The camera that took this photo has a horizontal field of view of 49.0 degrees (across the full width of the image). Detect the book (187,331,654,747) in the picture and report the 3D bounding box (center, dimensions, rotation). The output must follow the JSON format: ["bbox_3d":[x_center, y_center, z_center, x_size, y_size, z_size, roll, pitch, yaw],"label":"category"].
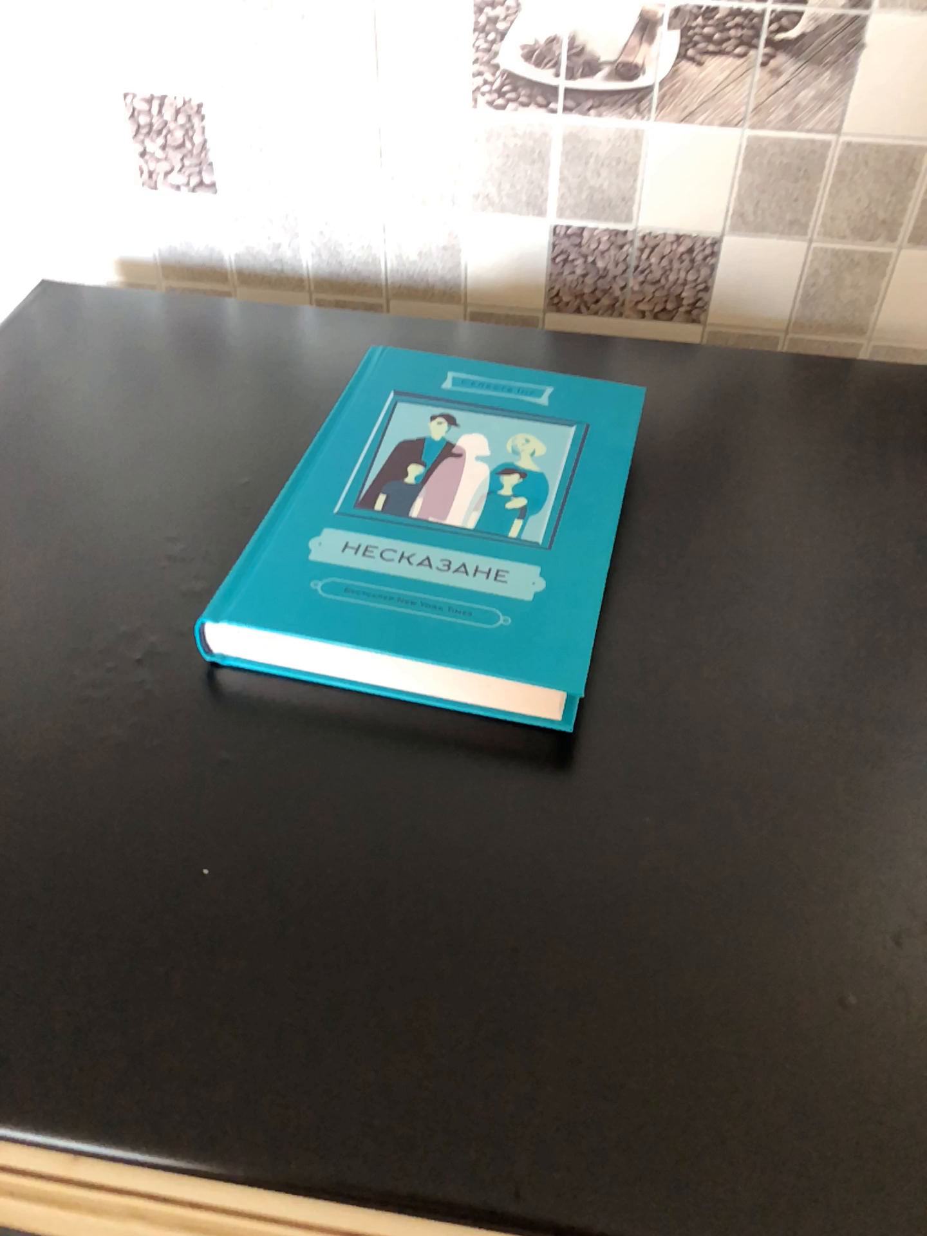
[{"bbox_3d":[-0.005,-0.050,0.447,0.150,0.030,0.211,11,46,8],"label":"book"}]
